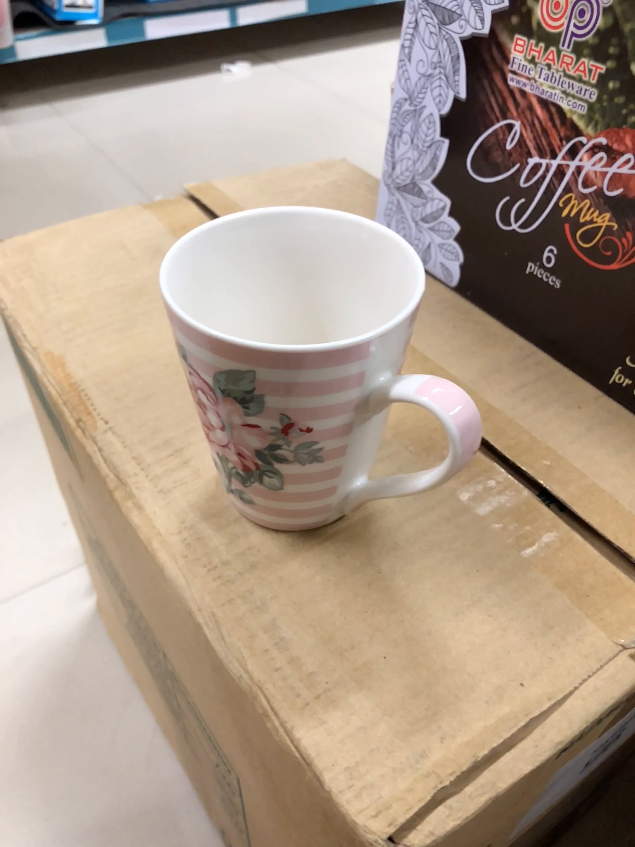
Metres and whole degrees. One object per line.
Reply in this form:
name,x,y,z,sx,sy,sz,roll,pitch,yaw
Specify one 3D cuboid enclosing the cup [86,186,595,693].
cup,0.001,-0.004,0.245,0.090,0.089,0.130,-30,51,-29
